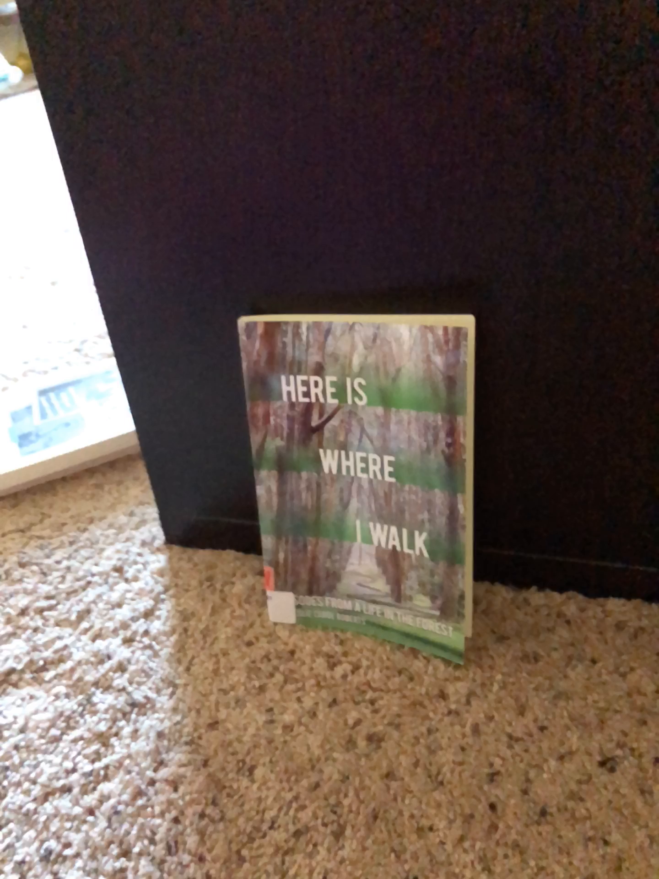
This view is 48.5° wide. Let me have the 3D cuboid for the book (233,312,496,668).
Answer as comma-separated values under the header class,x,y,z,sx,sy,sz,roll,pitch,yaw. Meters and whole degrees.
class,x,y,z,sx,sy,sz,roll,pitch,yaw
book,0.024,0.030,0.452,0.146,0.212,0.037,3,19,15
